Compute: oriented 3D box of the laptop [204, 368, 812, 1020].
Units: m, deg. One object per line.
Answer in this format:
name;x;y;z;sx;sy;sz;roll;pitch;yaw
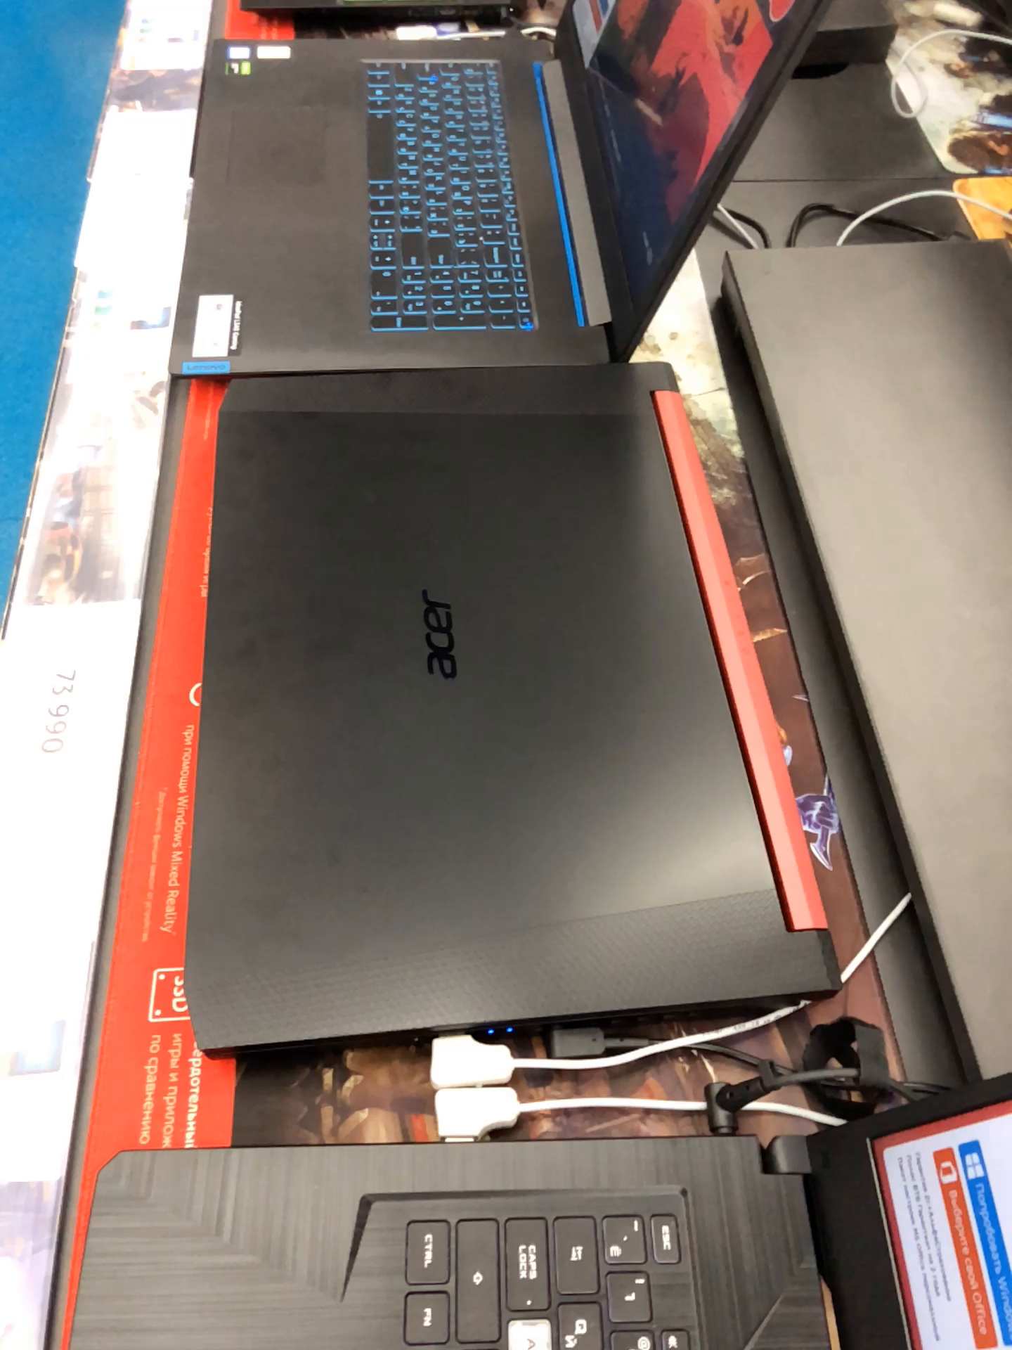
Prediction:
laptop;-0.013;-0.023;0.564;0.255;0.002;0.371;-4;57;-5
